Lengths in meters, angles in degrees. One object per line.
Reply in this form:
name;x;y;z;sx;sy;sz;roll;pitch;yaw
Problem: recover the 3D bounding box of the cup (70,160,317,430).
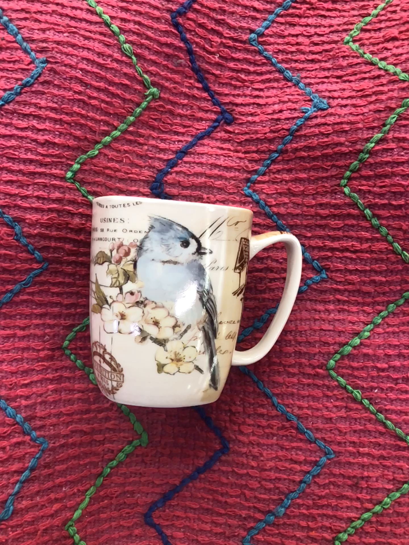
cup;-0.010;0.007;0.235;0.110;0.070;0.110;-1;94;-17
